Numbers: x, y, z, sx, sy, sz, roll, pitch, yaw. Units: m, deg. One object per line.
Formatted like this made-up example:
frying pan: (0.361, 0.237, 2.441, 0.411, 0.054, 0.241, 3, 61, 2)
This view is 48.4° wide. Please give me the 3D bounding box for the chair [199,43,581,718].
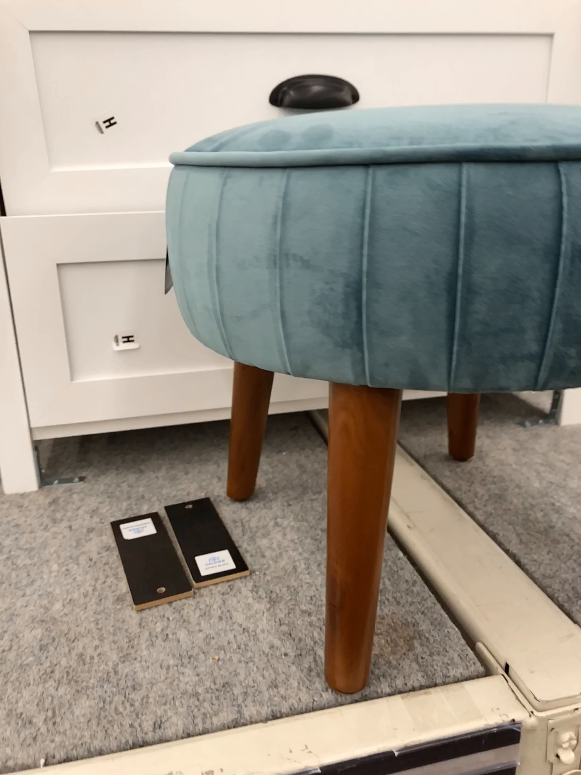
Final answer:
chair: (0.135, -0.045, 0.576, 0.370, 0.399, 0.371, -5, 18, -12)
